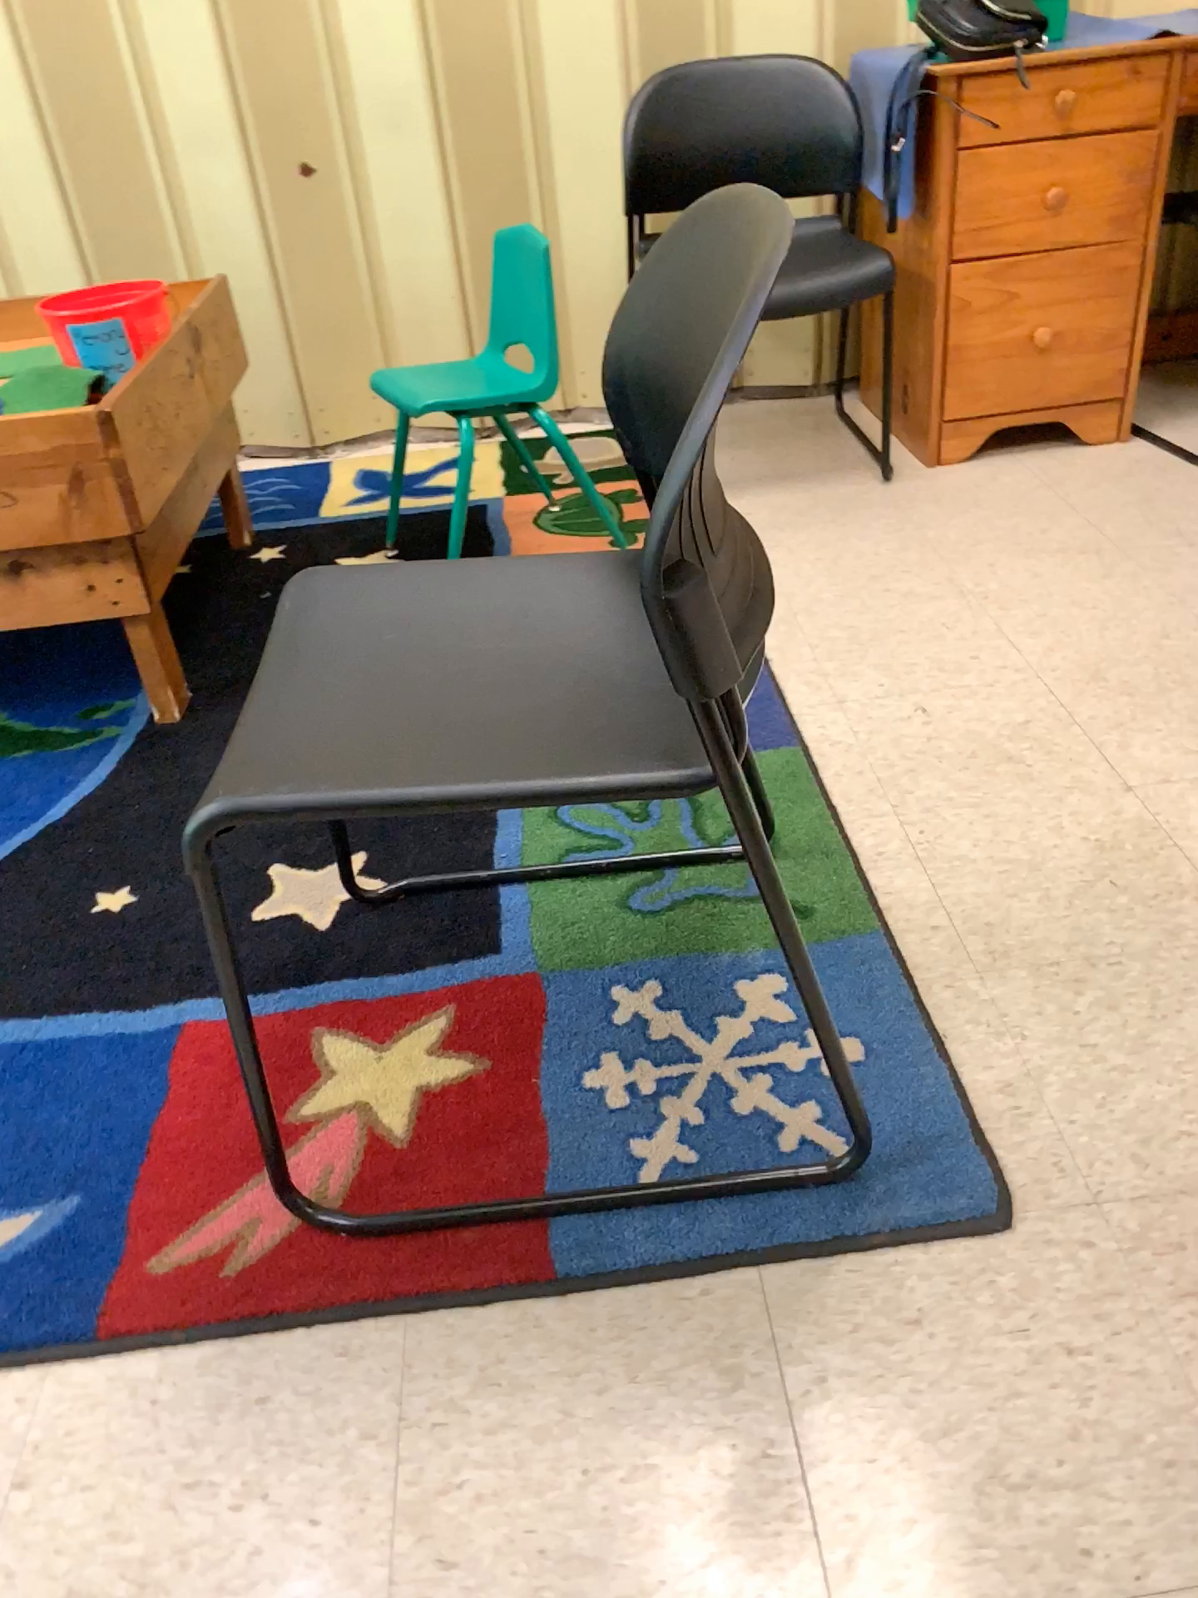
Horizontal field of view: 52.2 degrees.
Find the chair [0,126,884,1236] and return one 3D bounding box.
[{"bbox_3d":[-0.093,-0.125,1.127,0.530,0.785,0.574,-7,33,-1],"label":"chair"}]
